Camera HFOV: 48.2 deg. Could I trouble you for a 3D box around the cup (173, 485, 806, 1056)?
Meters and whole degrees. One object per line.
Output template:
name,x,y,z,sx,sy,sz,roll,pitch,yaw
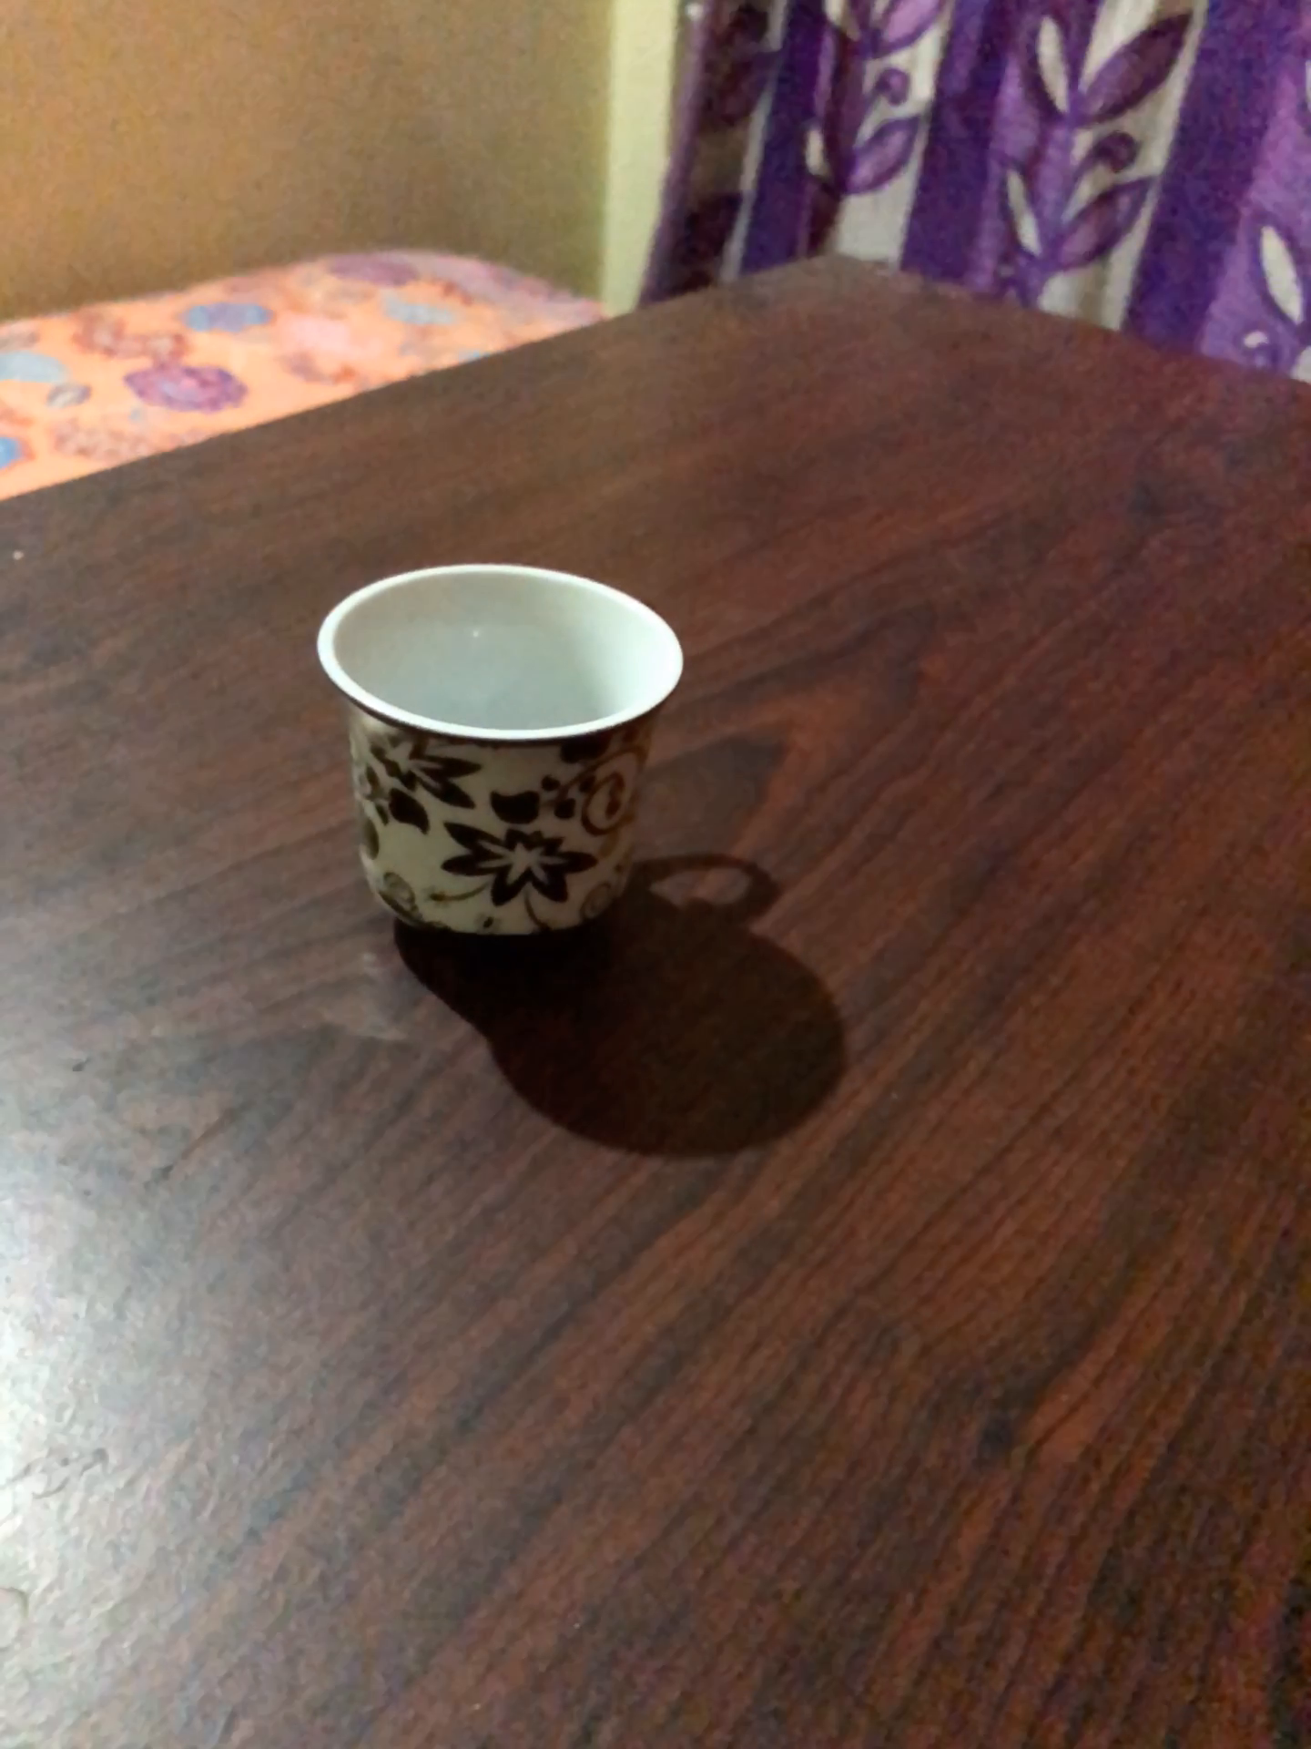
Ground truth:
cup,-0.026,-0.025,0.268,0.070,0.050,0.091,22,39,21
